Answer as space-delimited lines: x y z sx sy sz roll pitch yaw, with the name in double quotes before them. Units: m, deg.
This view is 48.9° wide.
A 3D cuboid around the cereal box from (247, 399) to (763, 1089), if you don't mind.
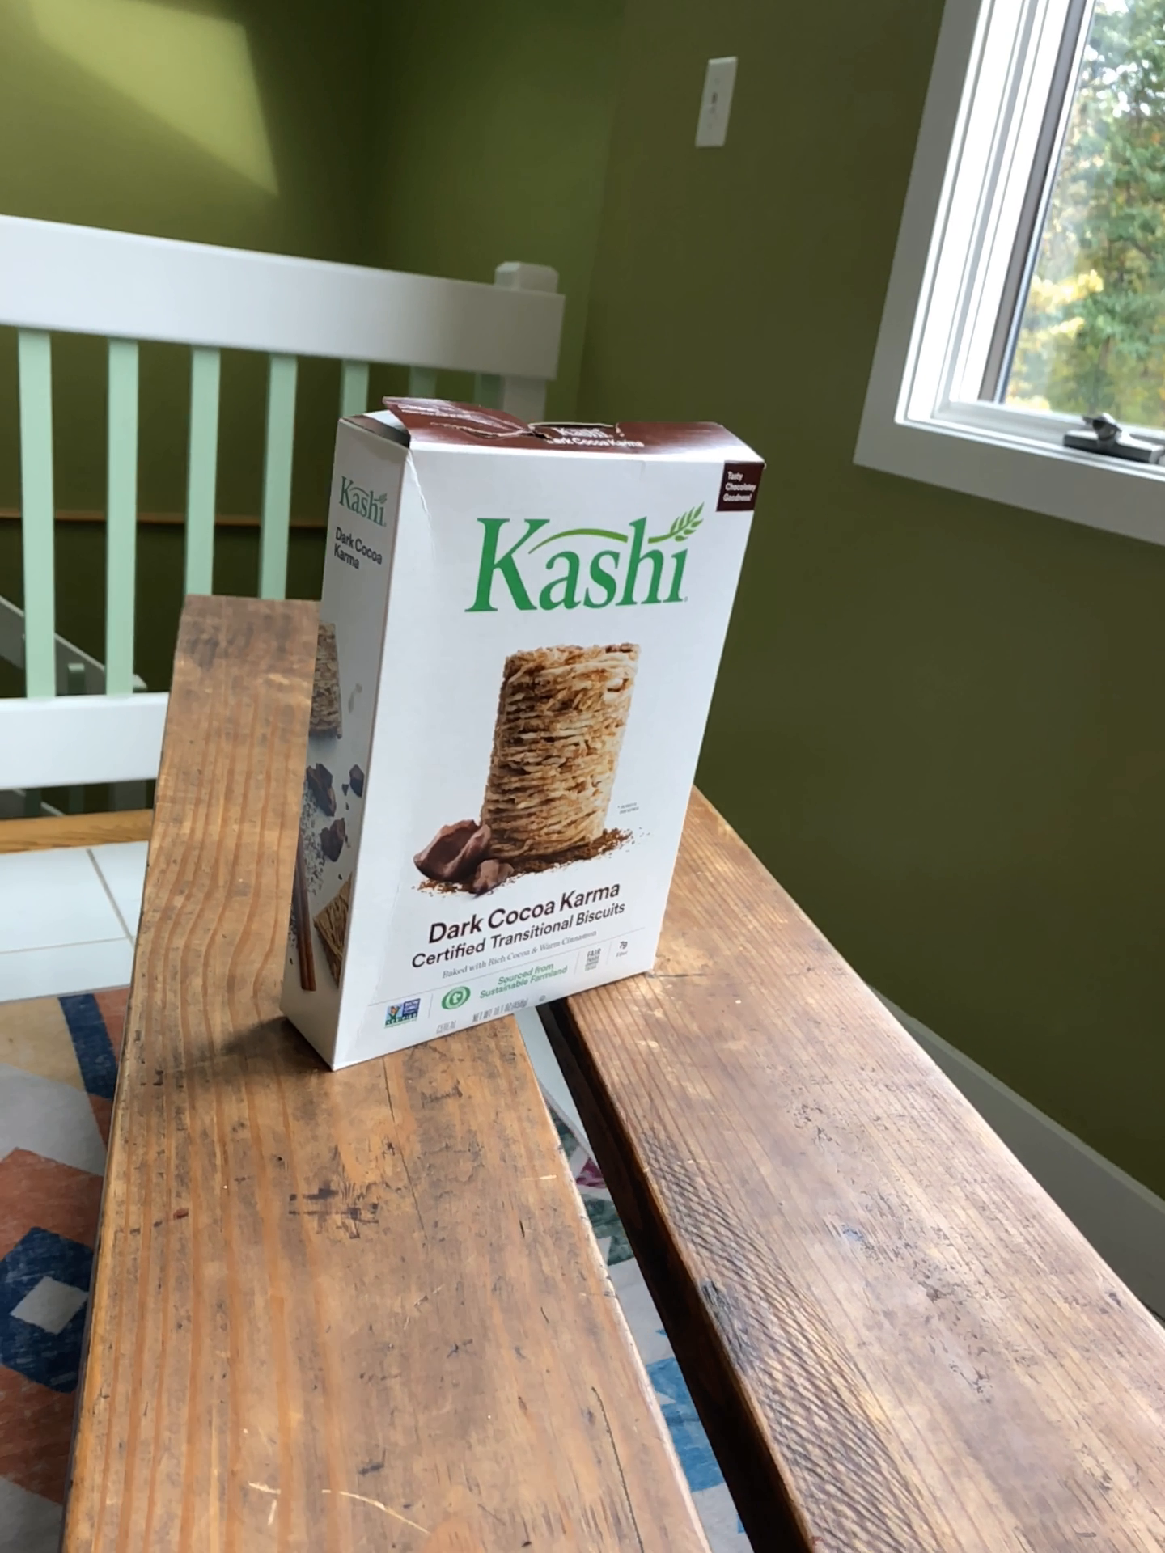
"cereal box" -0.037 -0.019 0.582 0.201 0.278 0.060 -10 30 -40
